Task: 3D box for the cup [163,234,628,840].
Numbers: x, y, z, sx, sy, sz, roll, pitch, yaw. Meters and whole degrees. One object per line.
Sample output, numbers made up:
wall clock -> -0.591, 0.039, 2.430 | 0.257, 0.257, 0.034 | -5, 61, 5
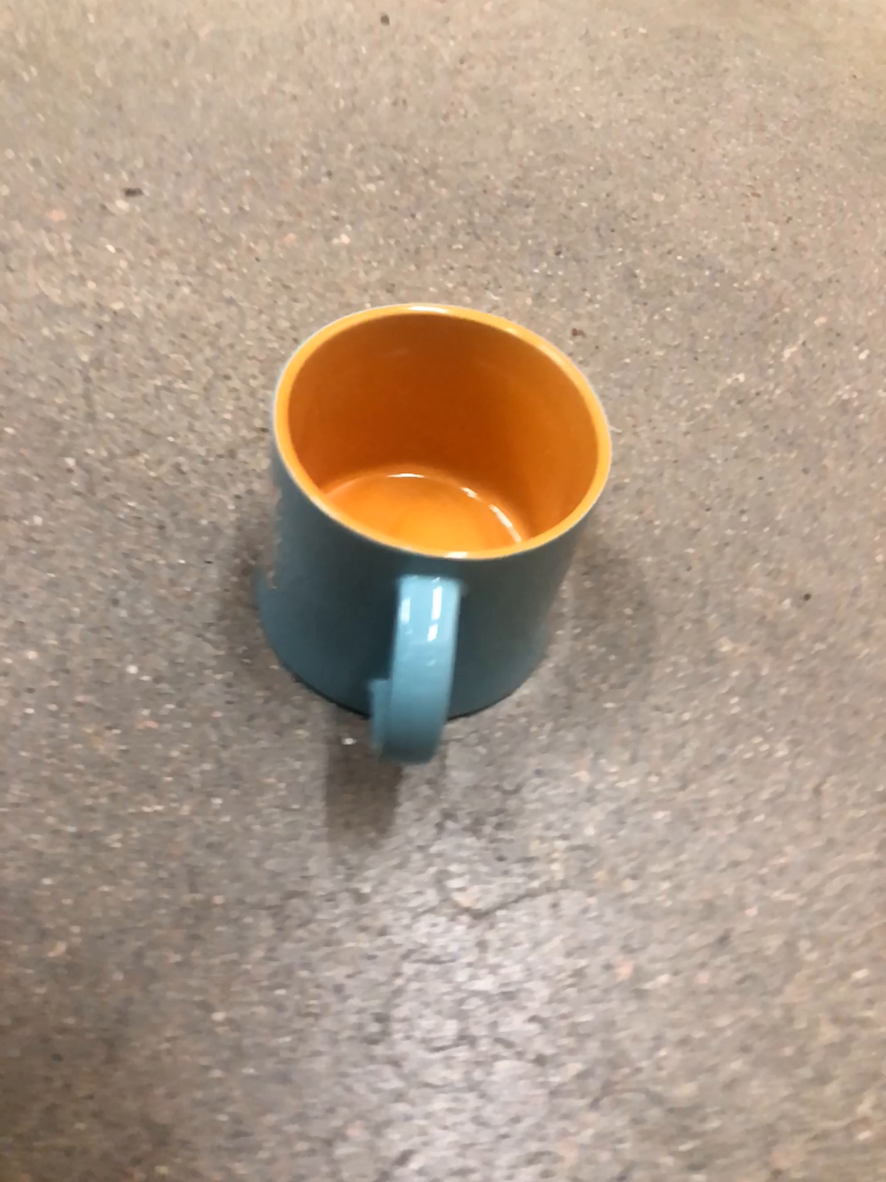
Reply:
cup -> -0.011, -0.015, 0.304 | 0.107, 0.097, 0.144 | 9, 56, -5
